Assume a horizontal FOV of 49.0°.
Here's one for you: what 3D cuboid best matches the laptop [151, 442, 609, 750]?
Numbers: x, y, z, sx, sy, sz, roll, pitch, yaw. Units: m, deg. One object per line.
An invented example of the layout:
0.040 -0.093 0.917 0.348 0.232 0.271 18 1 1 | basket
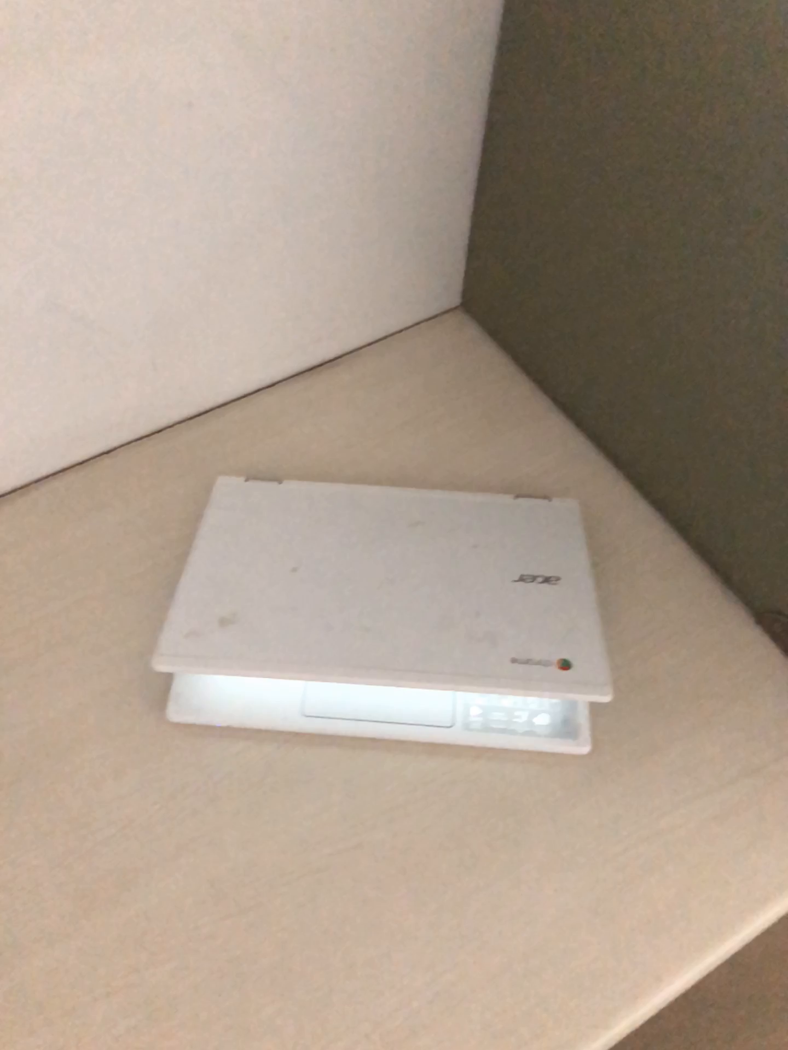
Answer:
-0.003 0.044 0.606 0.282 0.055 0.192 4 56 1 | laptop
